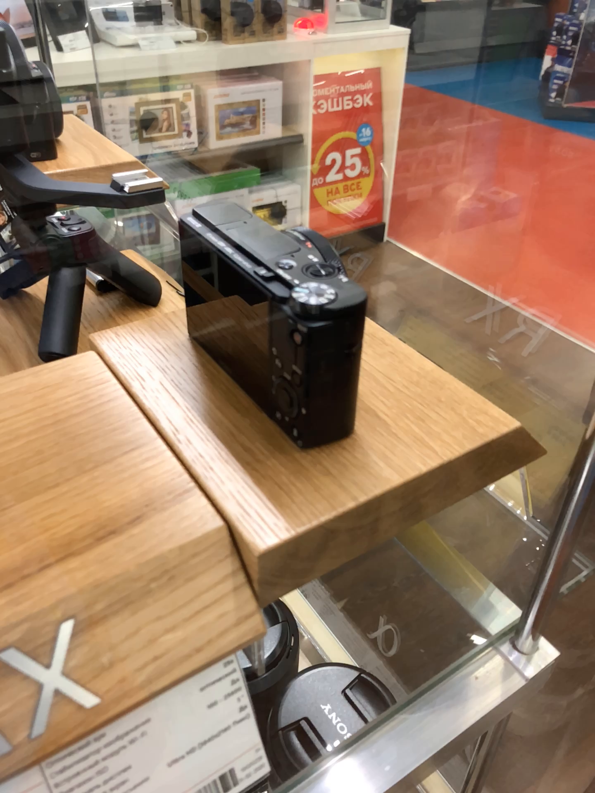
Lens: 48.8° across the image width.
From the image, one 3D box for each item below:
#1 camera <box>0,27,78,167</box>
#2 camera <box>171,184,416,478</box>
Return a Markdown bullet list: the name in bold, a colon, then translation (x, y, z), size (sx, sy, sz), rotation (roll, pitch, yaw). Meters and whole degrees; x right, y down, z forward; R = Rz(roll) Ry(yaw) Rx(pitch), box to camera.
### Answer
- **camera**: translation (-0.221, -0.238, 0.513), size (0.040, 0.070, 0.143), rotation (-21, 42, -27)
- **camera**: translation (-0.007, -0.031, 0.258), size (0.040, 0.070, 0.100), rotation (-21, 42, -27)
